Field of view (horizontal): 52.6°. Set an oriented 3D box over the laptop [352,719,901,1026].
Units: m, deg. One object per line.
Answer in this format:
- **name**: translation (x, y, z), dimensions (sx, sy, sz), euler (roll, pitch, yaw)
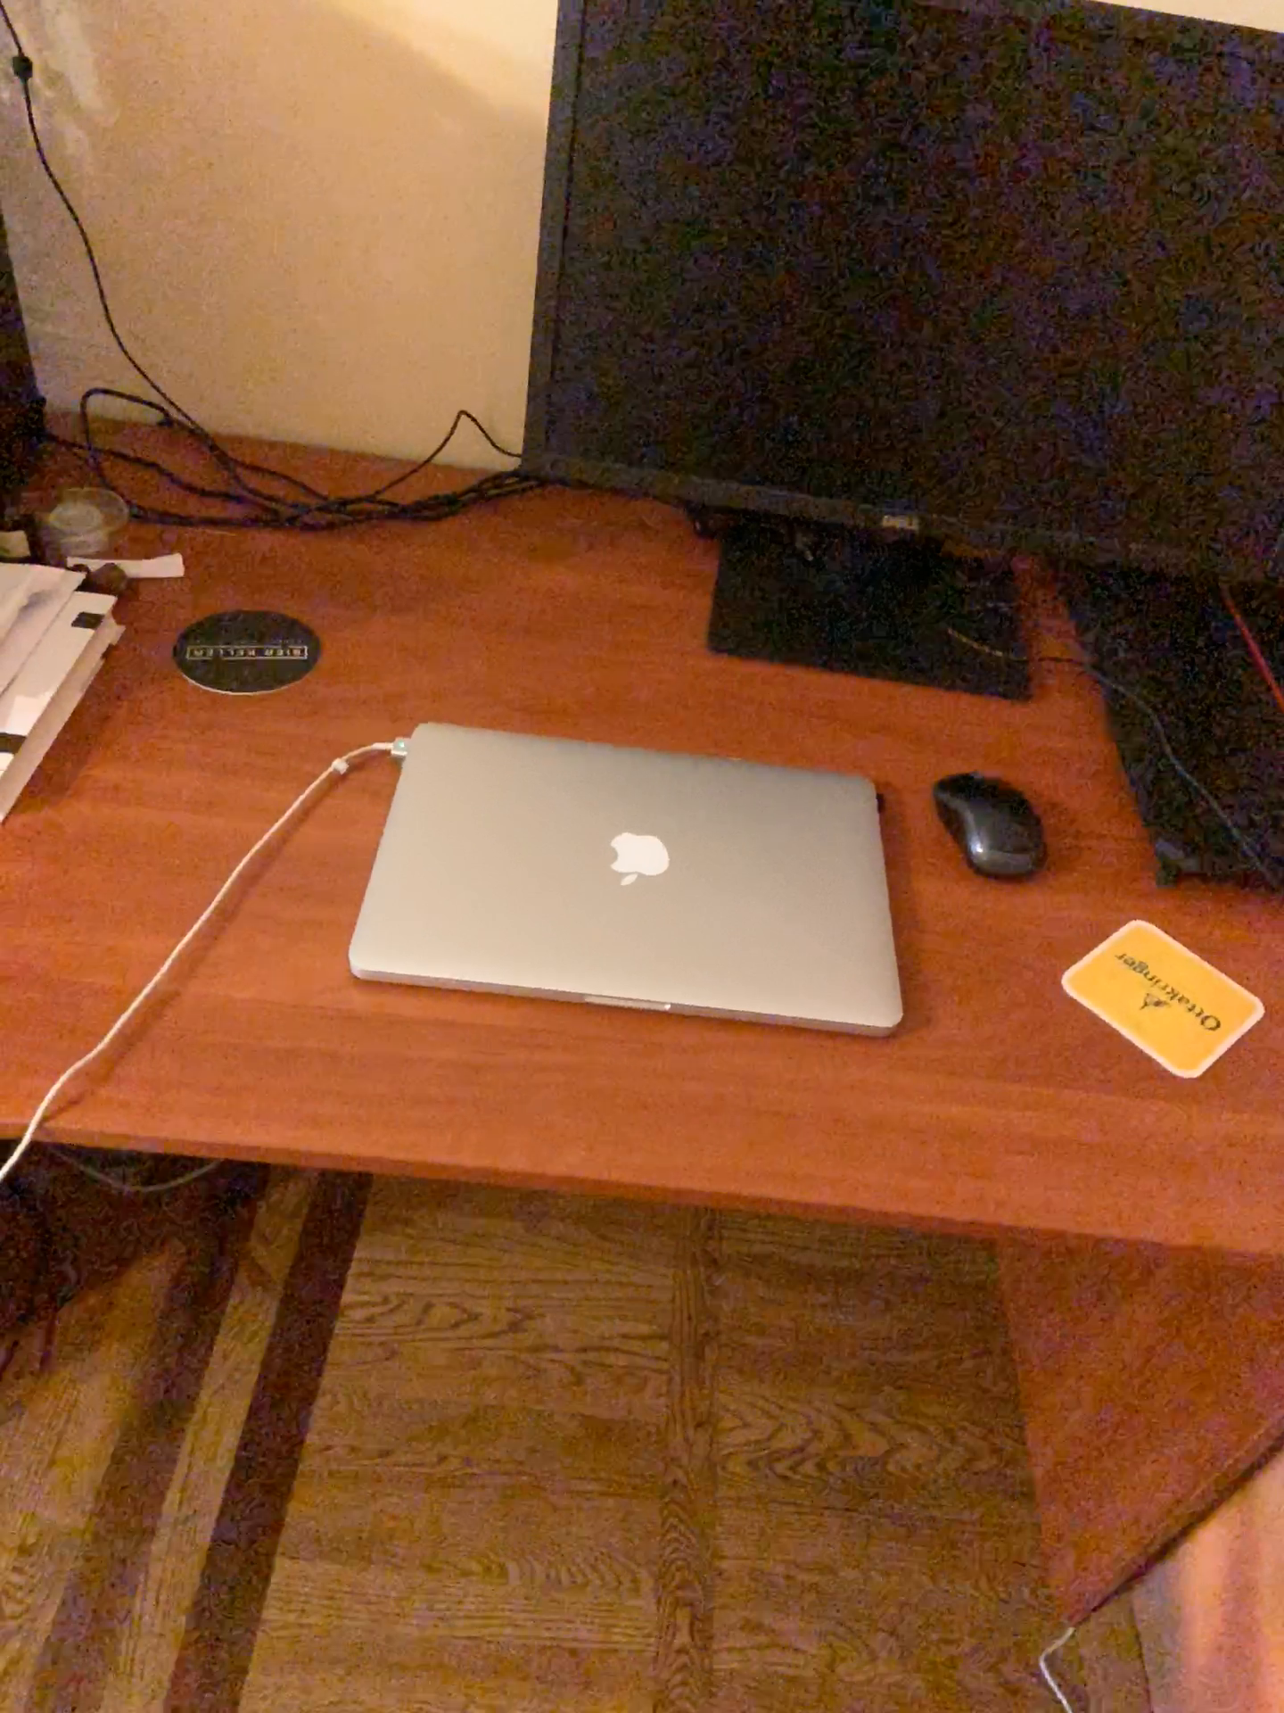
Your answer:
- **laptop**: translation (0.000, 0.002, 0.792), dimensions (0.305, 0.001, 0.214), euler (7, 44, -3)
